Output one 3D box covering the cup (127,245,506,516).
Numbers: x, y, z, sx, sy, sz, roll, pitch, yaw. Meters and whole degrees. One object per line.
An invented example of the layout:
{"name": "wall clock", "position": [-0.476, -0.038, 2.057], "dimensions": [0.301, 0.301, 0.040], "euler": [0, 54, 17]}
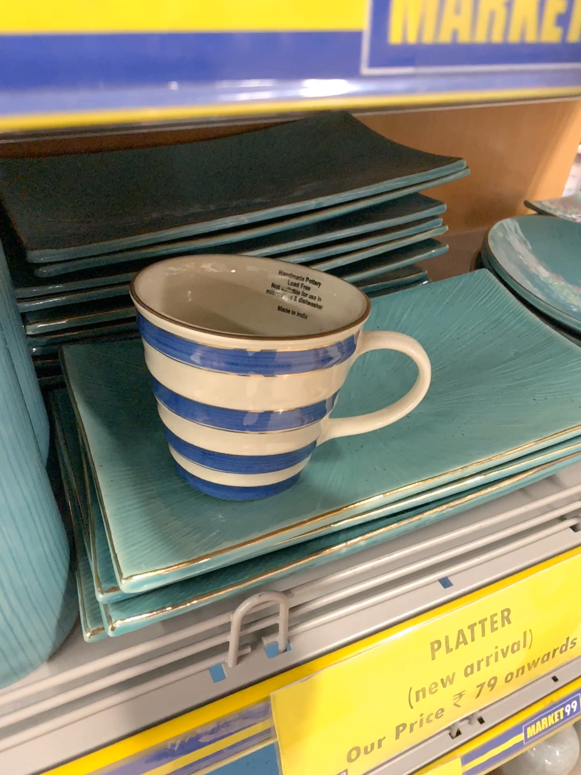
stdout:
{"name": "cup", "position": [0.001, -0.008, 0.277], "dimensions": [0.140, 0.080, 0.100], "euler": [1, 30, -12]}
